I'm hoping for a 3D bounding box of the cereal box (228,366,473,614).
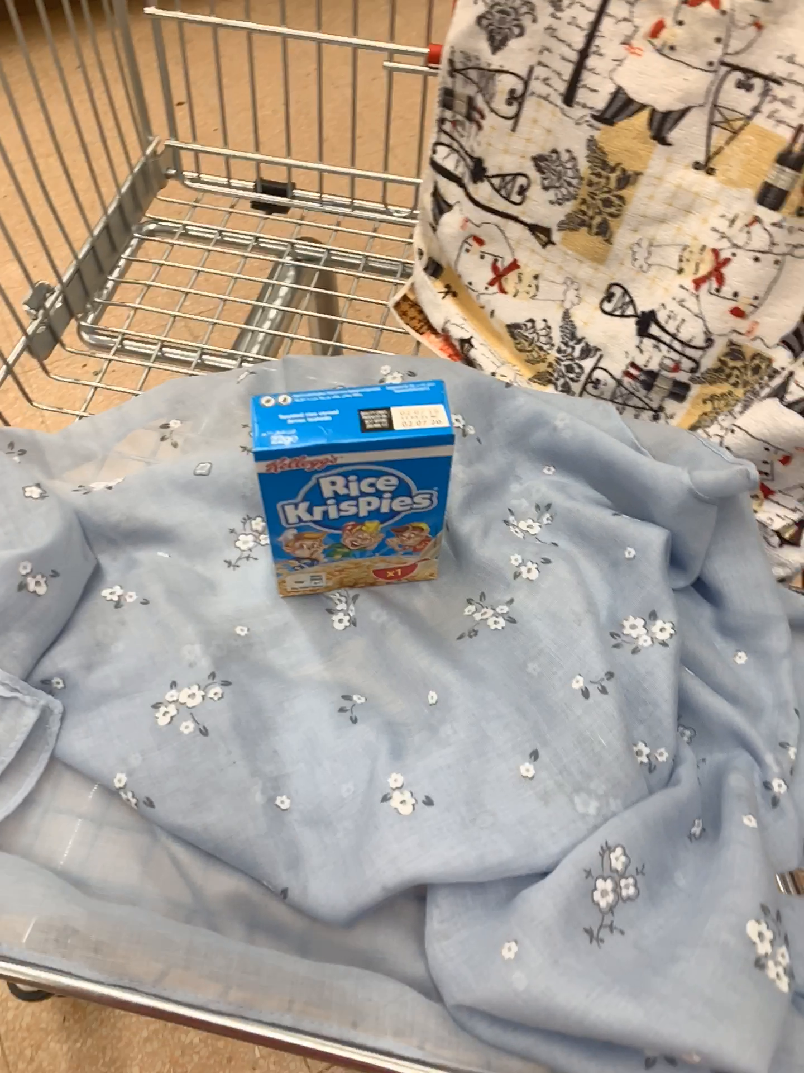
[{"bbox_3d":[-0.025,-0.017,0.411,0.100,0.139,0.040,-7,59,-7],"label":"cereal box"}]
